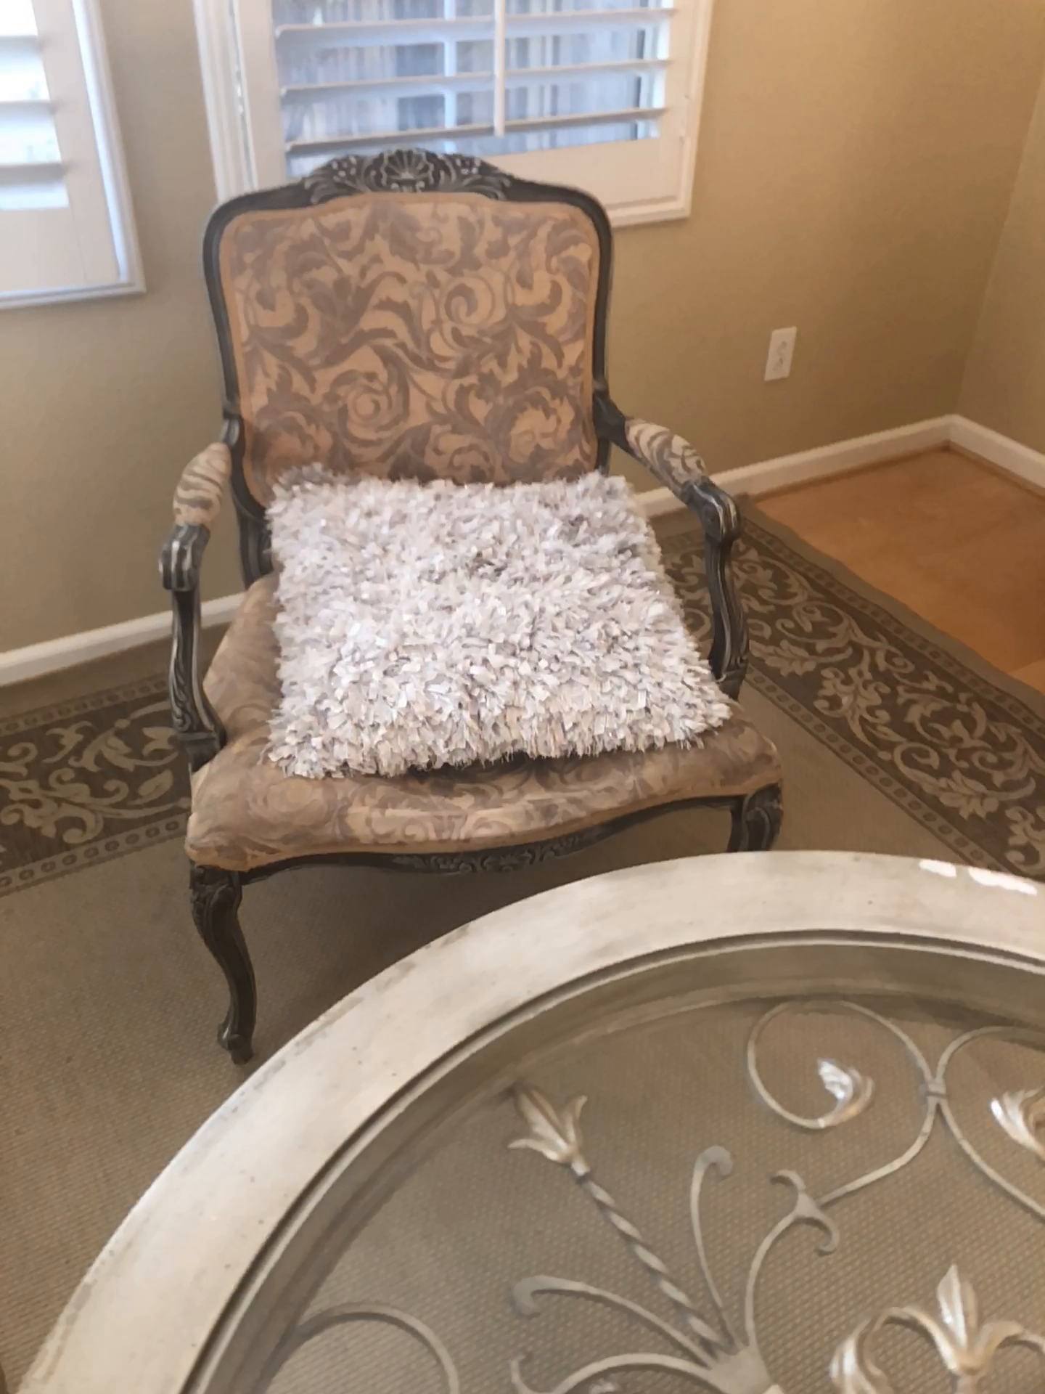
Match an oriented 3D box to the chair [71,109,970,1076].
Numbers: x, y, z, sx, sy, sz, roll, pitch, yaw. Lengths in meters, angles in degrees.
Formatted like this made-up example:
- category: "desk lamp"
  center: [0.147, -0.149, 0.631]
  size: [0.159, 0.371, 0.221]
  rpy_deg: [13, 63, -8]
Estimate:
- category: "chair"
  center: [-0.059, -0.156, 1.485]
  size: [0.761, 0.971, 0.655]
  rpy_deg: [-7, 37, -12]
